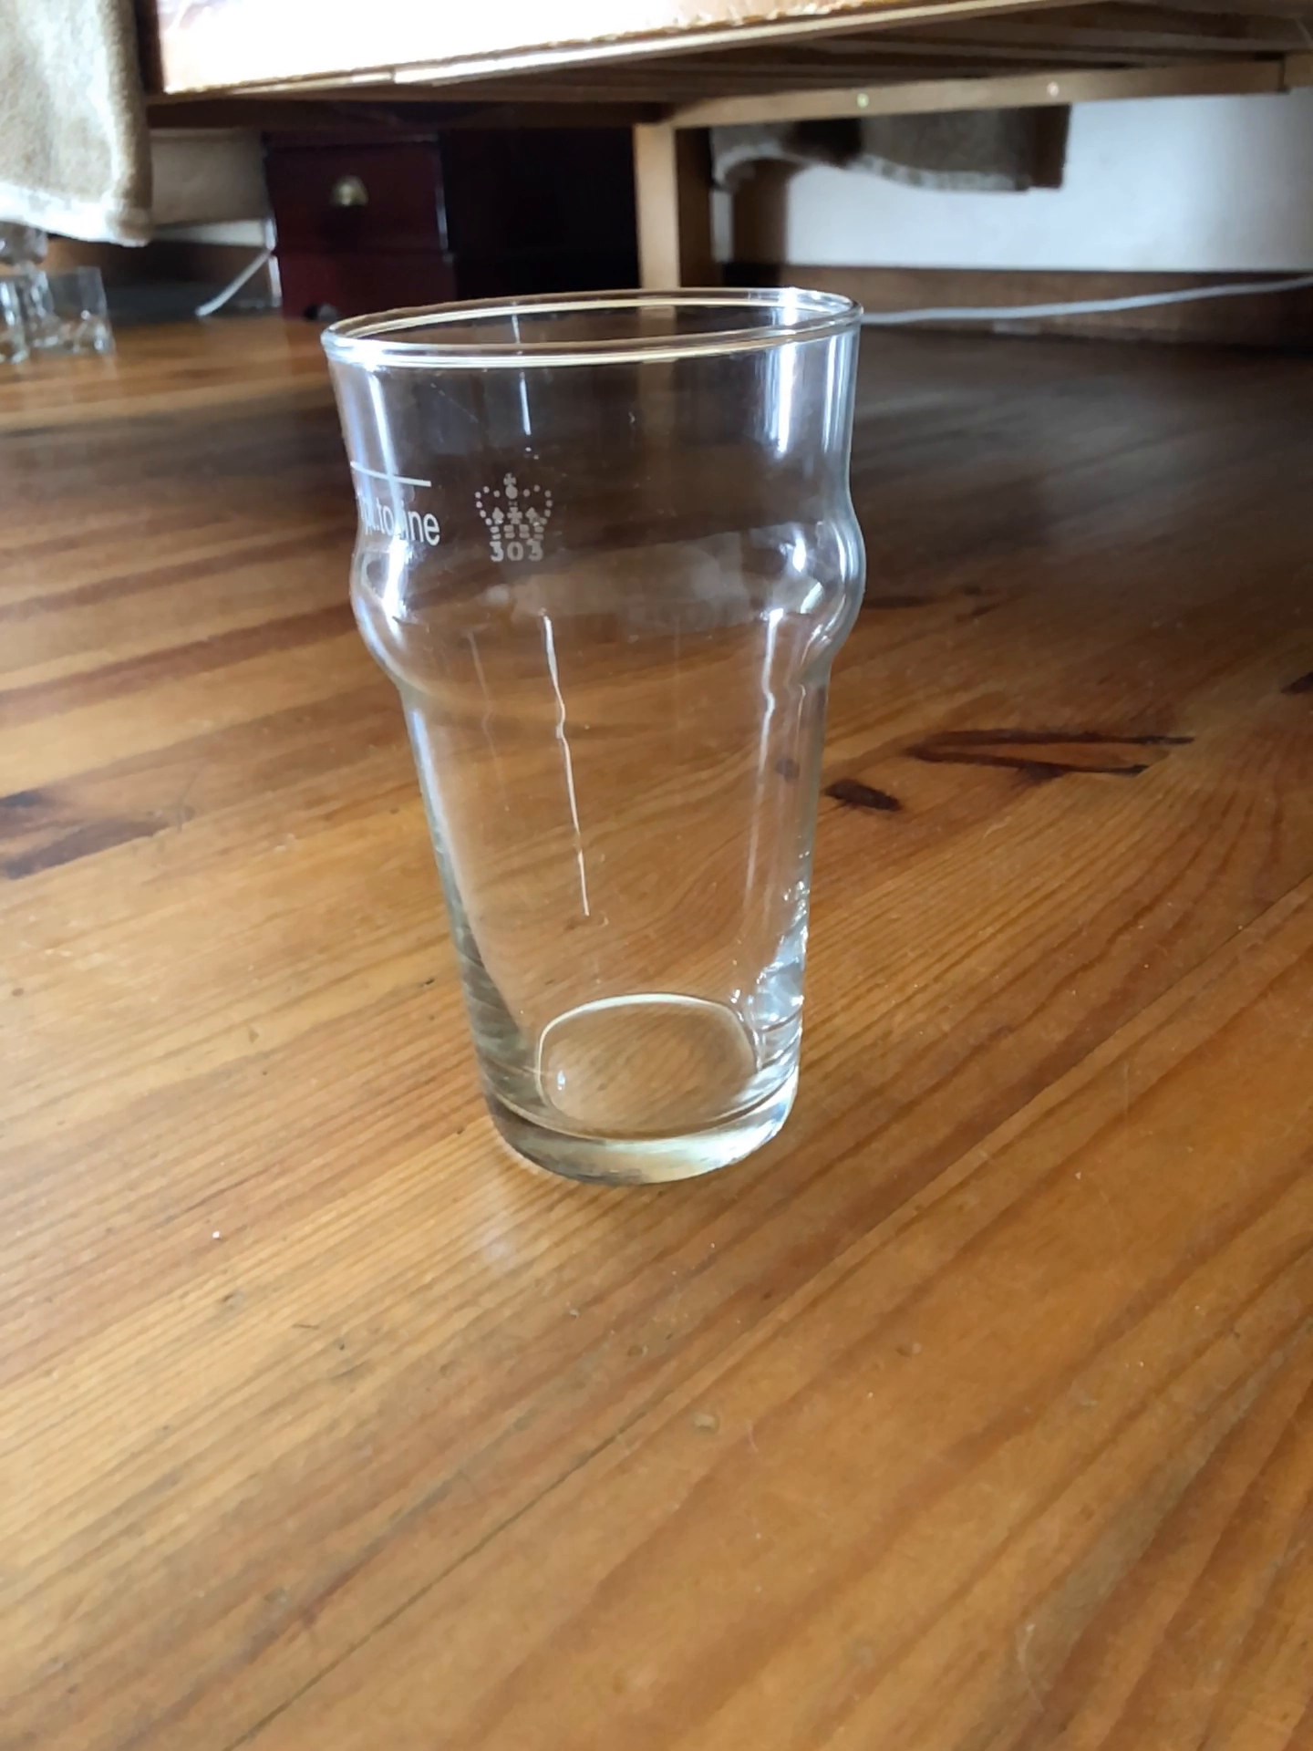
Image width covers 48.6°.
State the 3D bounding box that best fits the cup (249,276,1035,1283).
[{"bbox_3d":[0.005,-0.026,0.276,0.094,0.151,0.092,-4,28,2],"label":"cup"}]
